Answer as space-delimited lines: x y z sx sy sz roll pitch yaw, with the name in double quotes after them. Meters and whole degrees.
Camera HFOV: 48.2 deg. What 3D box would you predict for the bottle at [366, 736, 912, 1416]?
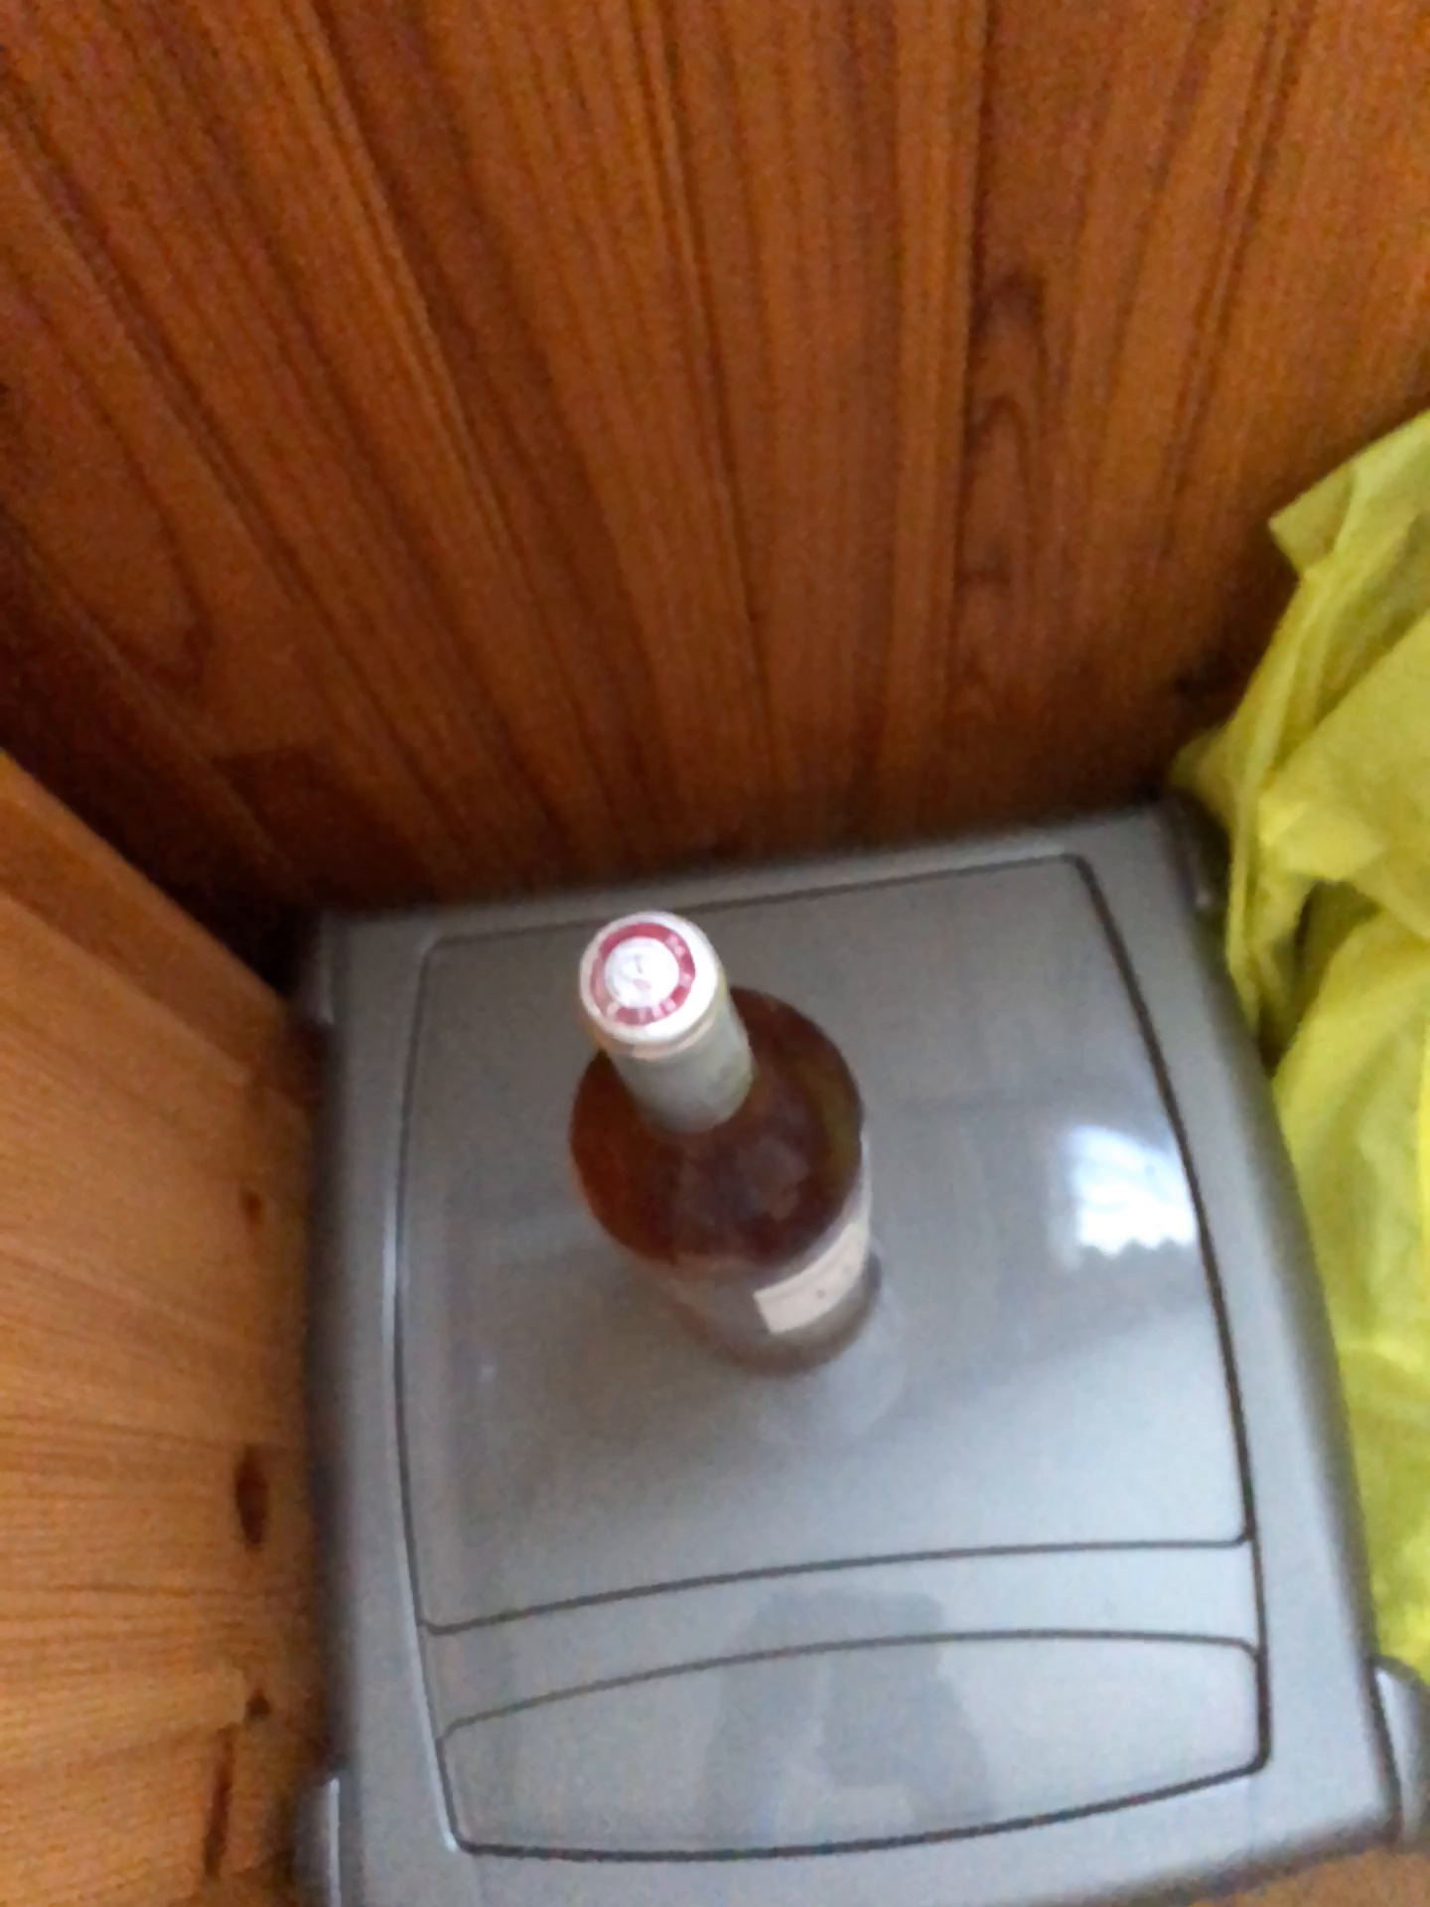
0.004 0.061 0.448 0.080 0.319 0.080 -2 68 6 "bottle"
